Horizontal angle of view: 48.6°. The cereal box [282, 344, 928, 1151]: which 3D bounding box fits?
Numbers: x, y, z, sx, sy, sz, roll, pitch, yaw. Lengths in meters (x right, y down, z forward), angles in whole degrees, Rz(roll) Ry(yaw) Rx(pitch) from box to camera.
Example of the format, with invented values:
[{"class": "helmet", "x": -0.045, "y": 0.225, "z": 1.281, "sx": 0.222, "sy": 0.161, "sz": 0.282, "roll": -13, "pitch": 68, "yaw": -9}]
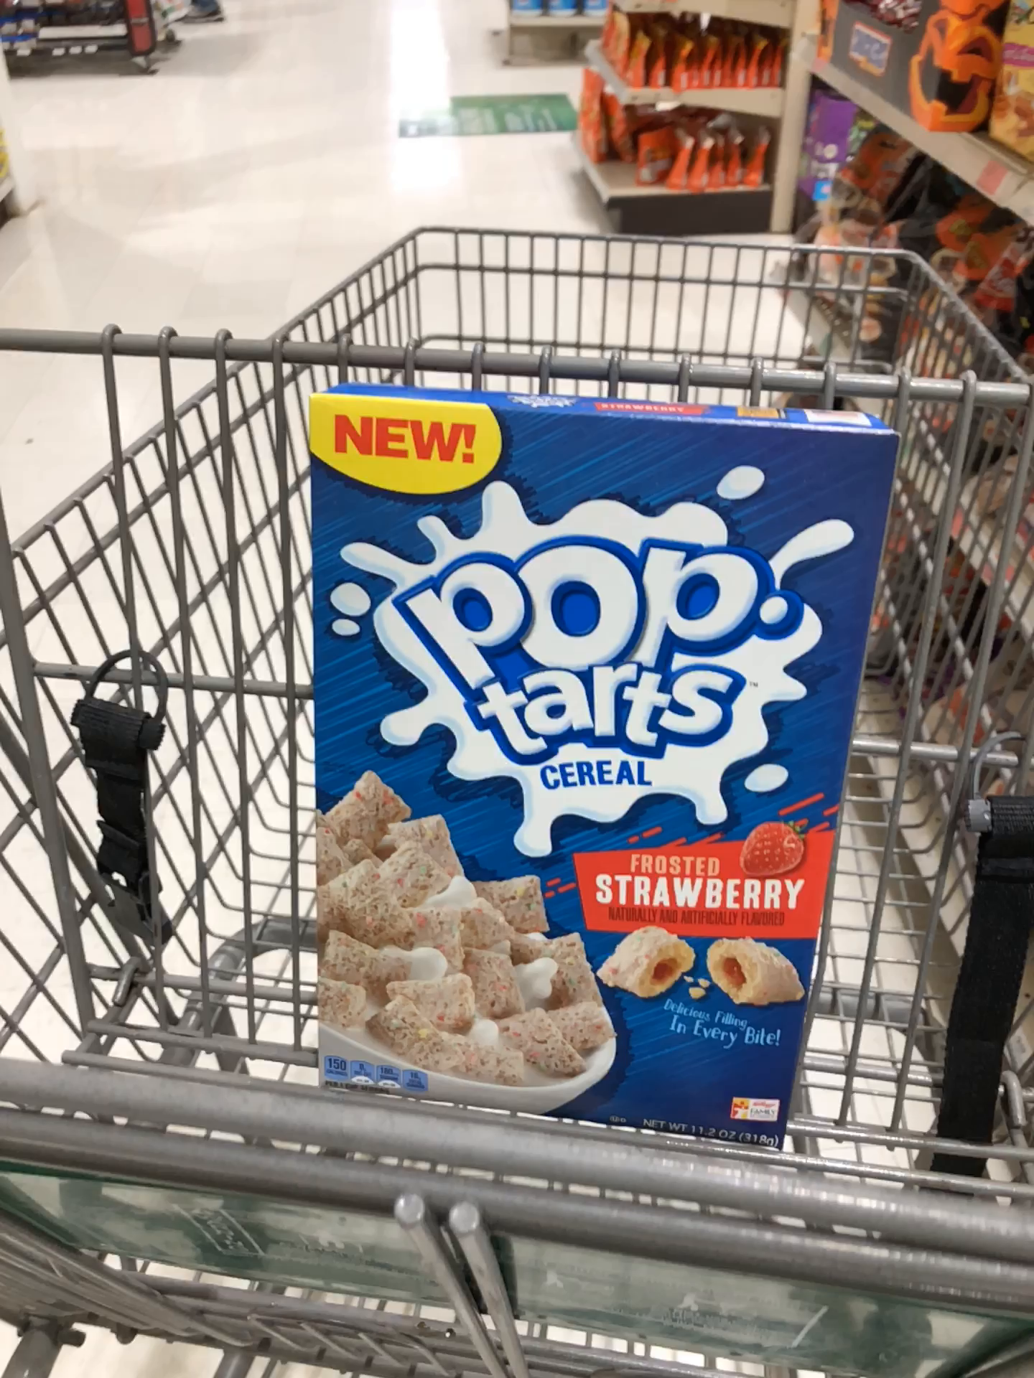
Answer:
[{"class": "cereal box", "x": 0.022, "y": 0.024, "z": 0.422, "sx": 0.200, "sy": 0.280, "sz": 0.050, "roll": 5, "pitch": 19, "yaw": 9}]
